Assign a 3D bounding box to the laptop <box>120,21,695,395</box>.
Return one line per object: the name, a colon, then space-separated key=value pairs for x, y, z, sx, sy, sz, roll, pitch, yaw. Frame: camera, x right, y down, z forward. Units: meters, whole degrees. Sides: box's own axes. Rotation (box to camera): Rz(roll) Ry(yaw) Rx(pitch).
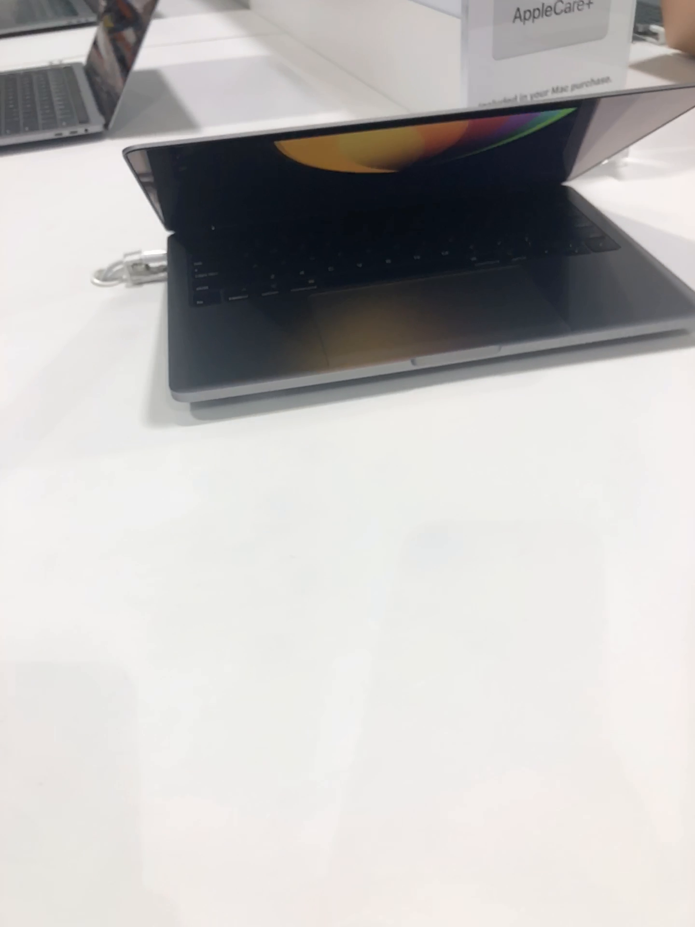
laptop: x=0.036 y=-0.165 z=0.450 sx=0.296 sy=0.109 sz=0.211 roll=-9 pitch=39 yaw=-6
